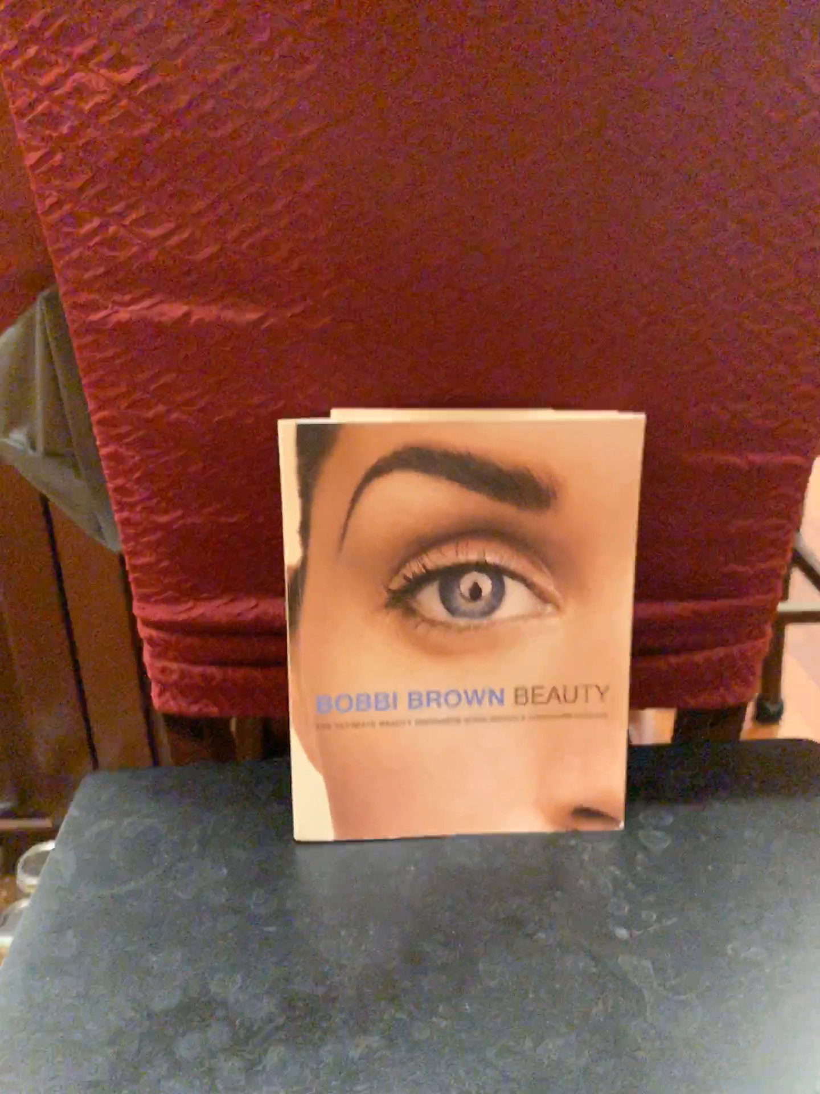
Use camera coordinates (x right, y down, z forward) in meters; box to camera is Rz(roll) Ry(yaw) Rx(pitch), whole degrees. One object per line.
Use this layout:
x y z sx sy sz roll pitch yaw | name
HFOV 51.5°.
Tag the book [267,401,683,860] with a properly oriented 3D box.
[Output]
0.033 0.047 0.450 0.200 0.239 0.030 -1 13 -2 | book
